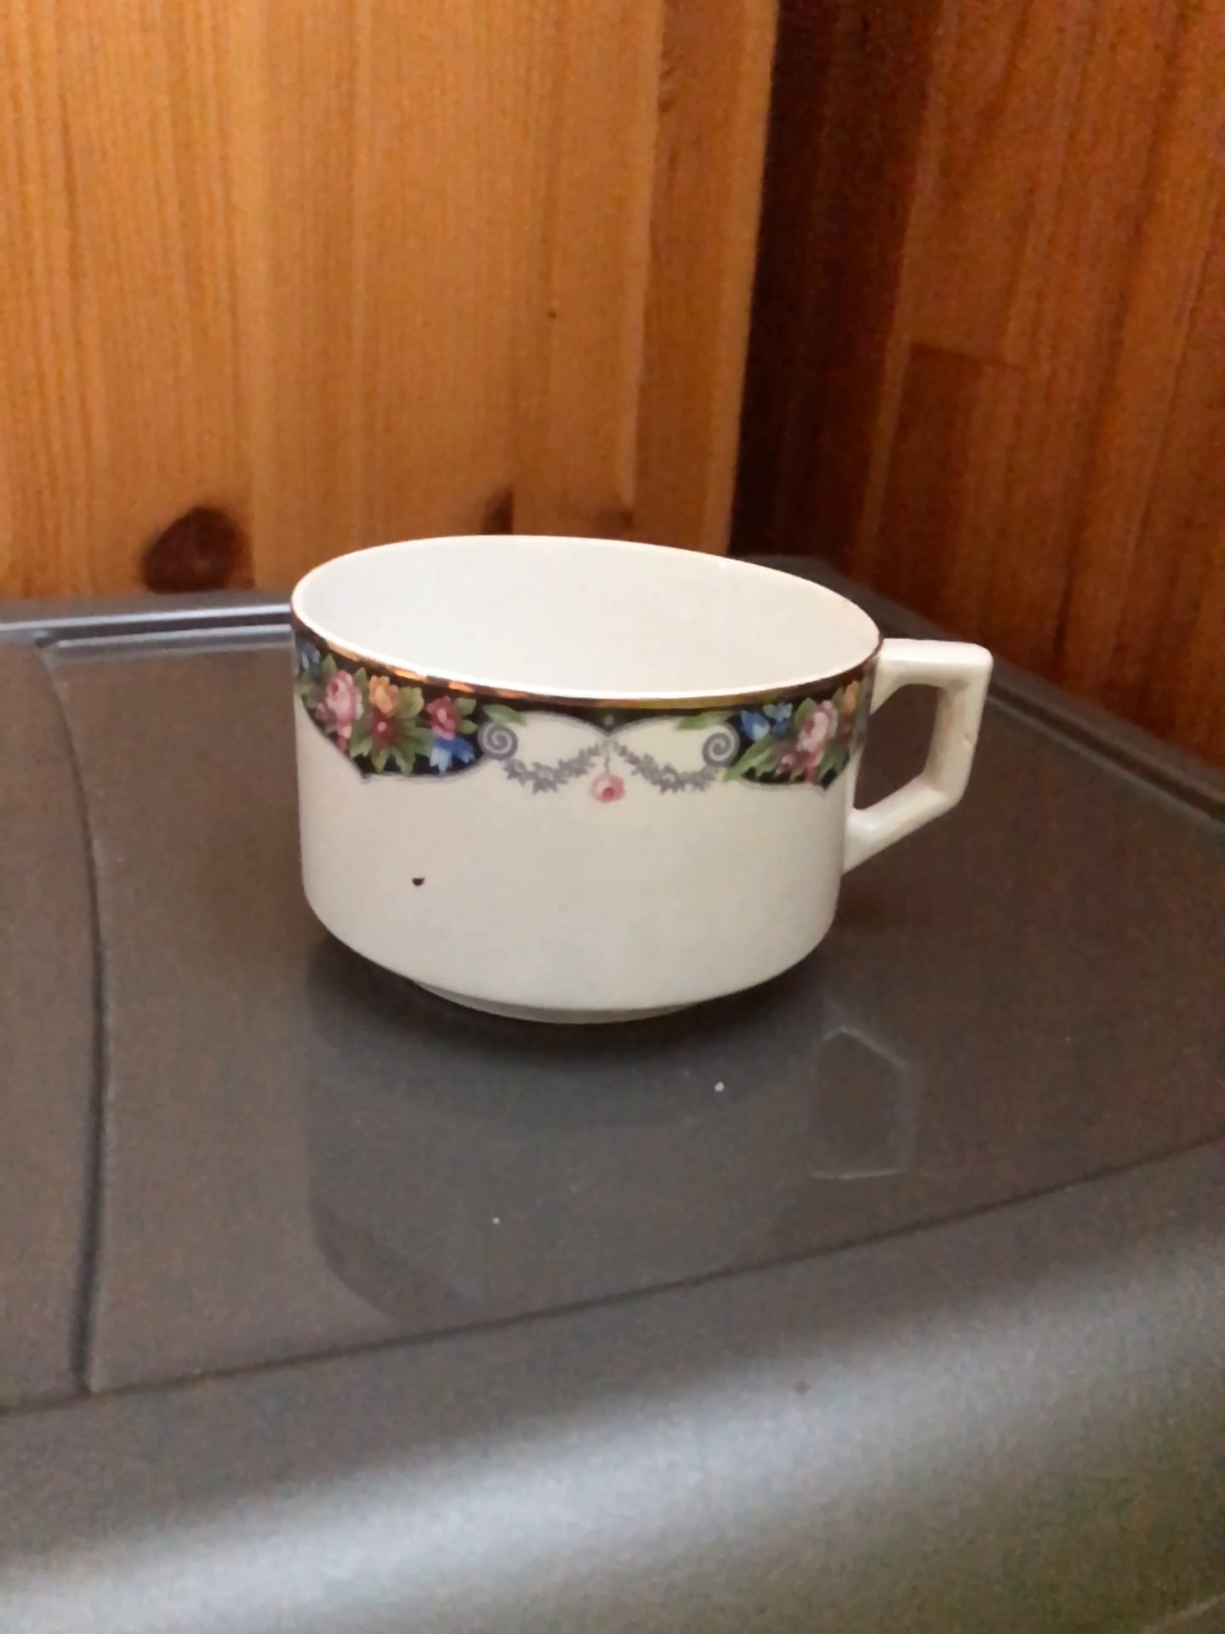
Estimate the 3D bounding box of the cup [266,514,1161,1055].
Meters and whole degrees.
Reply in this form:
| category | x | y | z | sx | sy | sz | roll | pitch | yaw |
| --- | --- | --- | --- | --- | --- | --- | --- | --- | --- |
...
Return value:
| category | x | y | z | sx | sy | sz | roll | pitch | yaw |
| --- | --- | --- | --- | --- | --- | --- | --- | --- | --- |
| cup | 0.008 | -0.012 | 0.250 | 0.130 | 0.060 | 0.100 | 0 | 24 | -10 |
